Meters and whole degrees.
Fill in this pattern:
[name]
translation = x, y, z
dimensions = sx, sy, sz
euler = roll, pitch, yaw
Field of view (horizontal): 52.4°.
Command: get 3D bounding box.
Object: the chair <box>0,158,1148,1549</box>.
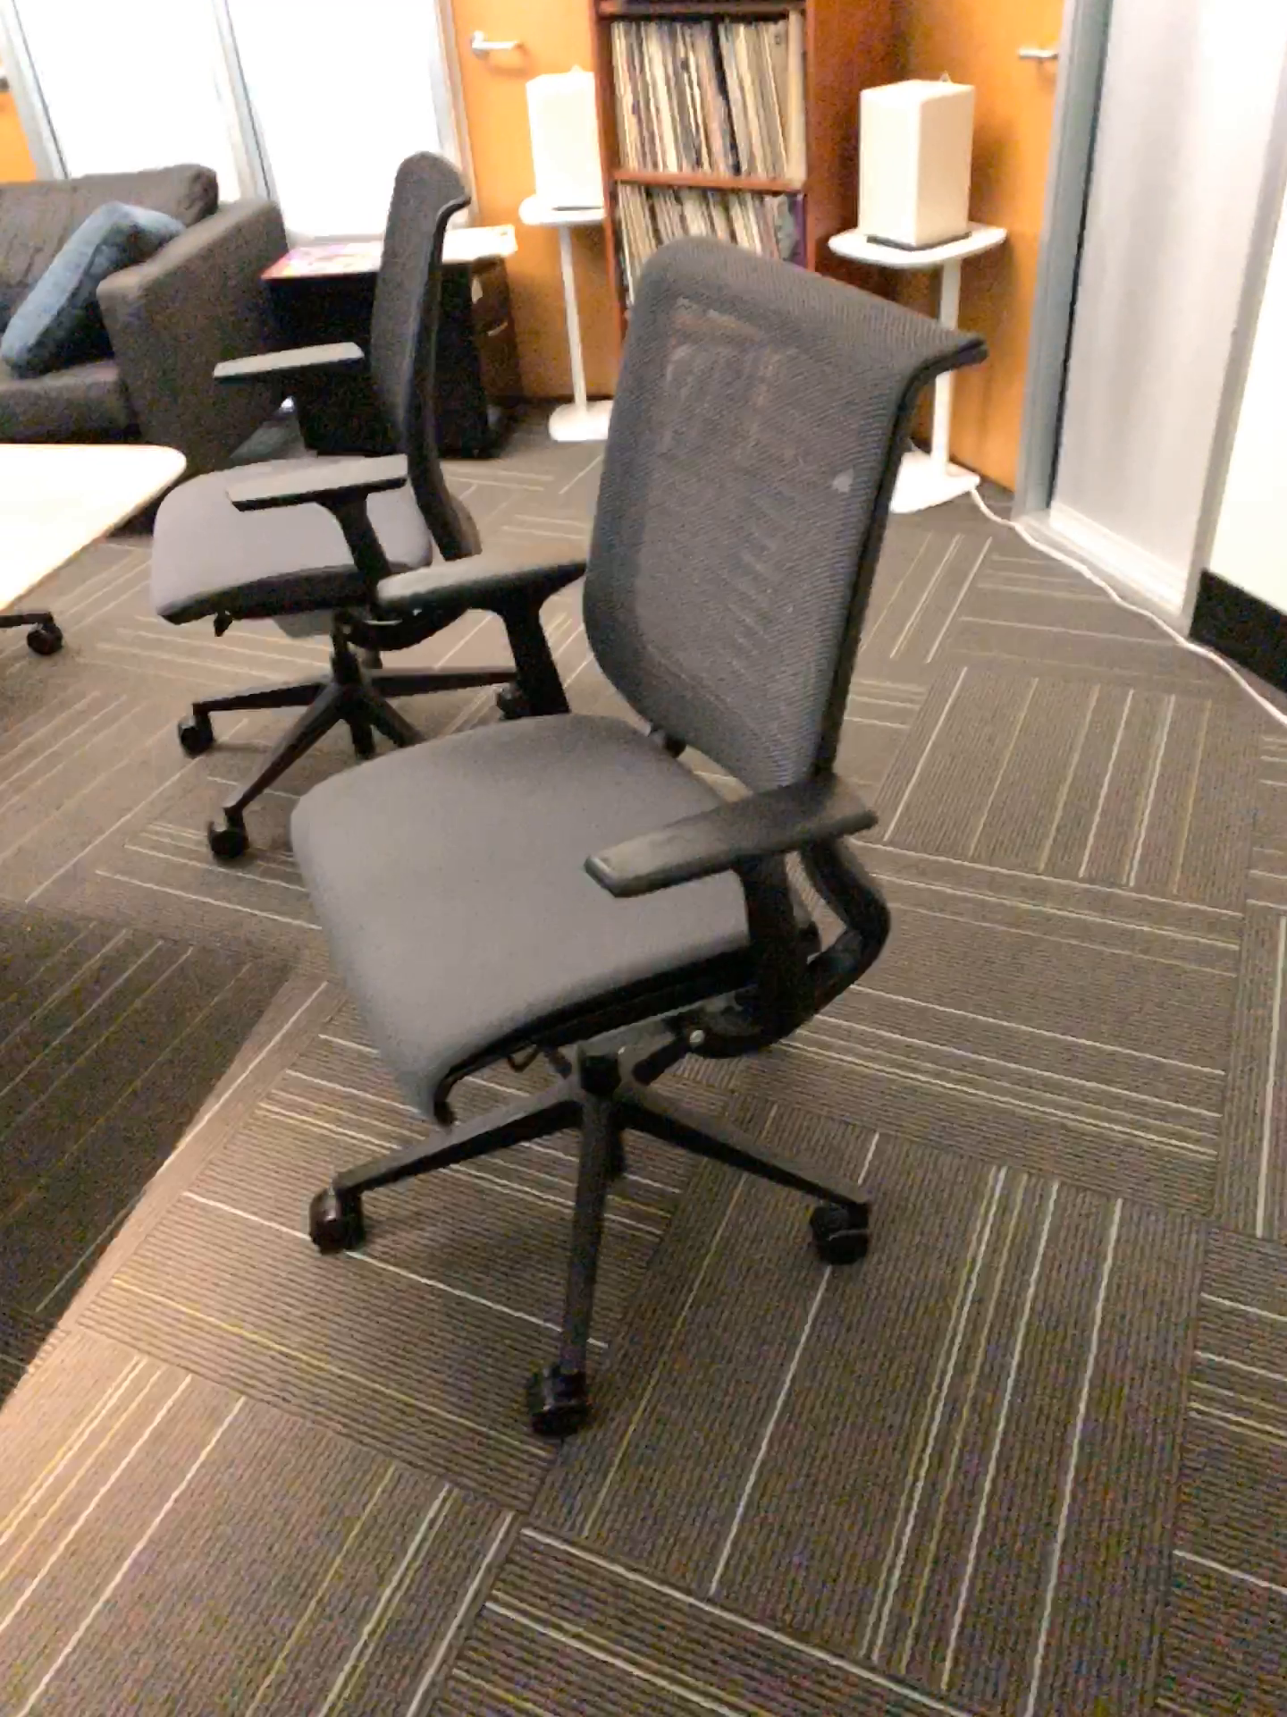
[chair]
translation = -0.119, -0.048, 1.471
dimensions = 0.800, 1.113, 0.795
euler = -22, 41, -20
